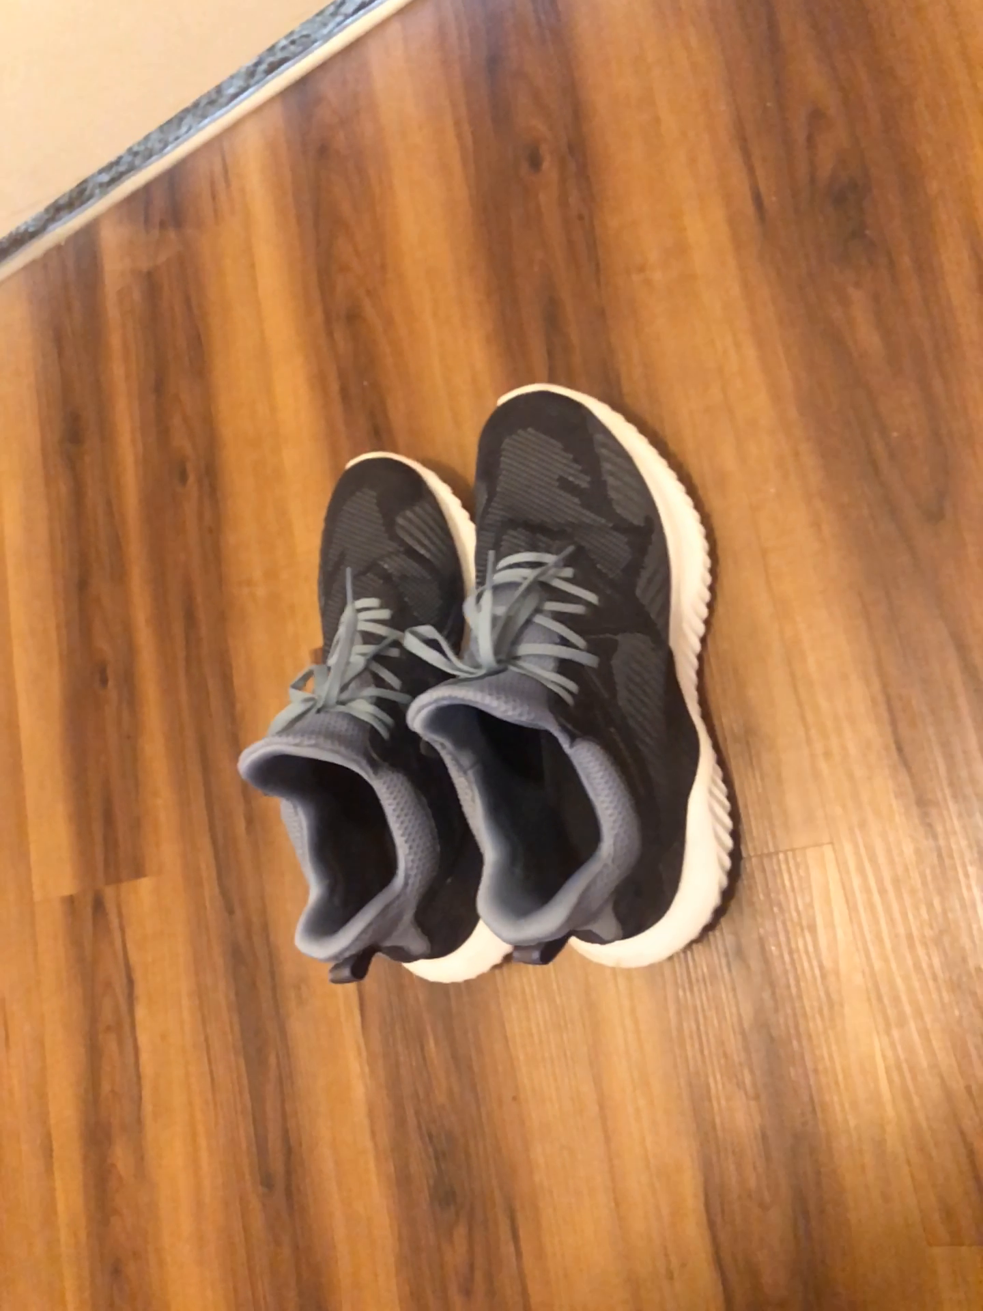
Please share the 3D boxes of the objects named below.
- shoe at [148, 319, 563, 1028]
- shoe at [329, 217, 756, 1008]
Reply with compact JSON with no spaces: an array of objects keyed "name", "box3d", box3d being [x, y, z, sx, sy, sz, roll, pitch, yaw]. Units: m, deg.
[{"name":"shoe","box3d":[-0.077,0.015,0.600,0.133,0.135,0.333,-16,76,30]},{"name":"shoe","box3d":[0.024,-0.011,0.537,0.131,0.130,0.334,-11,78,31]}]
